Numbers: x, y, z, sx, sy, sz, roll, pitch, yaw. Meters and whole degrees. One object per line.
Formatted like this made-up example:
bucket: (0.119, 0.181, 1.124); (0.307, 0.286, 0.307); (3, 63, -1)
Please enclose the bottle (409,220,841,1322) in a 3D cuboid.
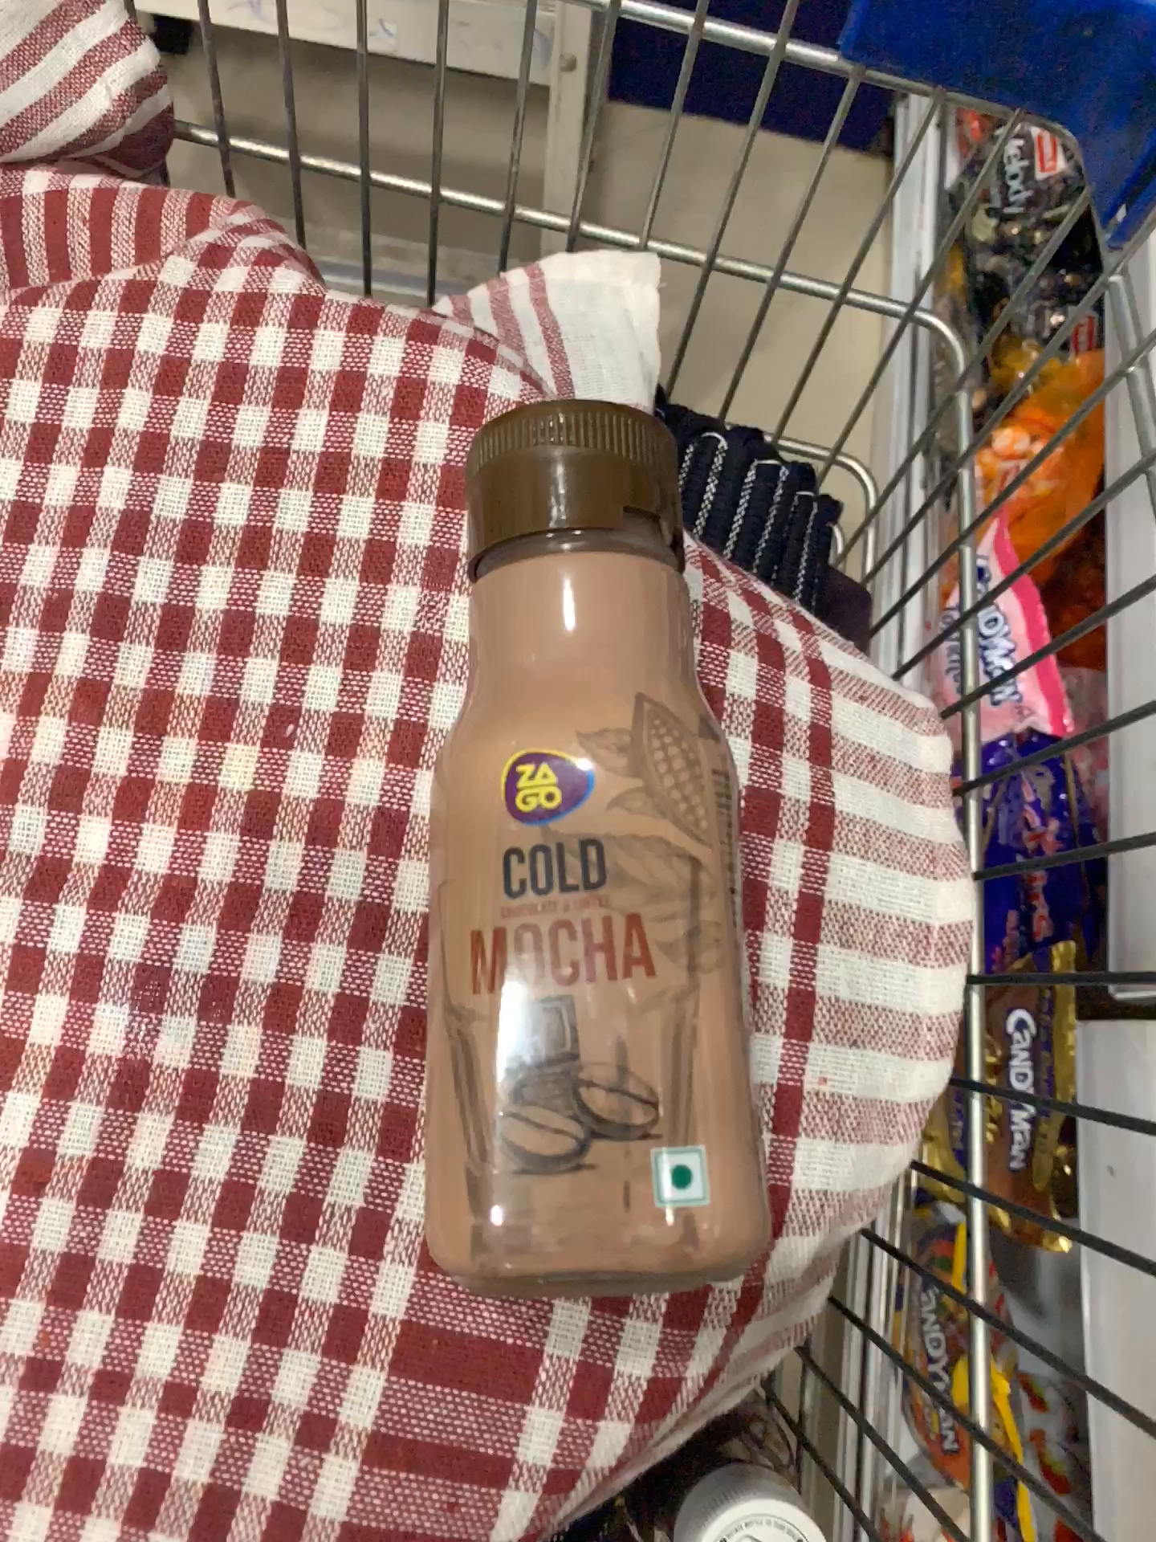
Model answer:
bottle: (0.009, 0.001, 0.219); (0.060, 0.070, 0.170); (-4, 78, 9)
